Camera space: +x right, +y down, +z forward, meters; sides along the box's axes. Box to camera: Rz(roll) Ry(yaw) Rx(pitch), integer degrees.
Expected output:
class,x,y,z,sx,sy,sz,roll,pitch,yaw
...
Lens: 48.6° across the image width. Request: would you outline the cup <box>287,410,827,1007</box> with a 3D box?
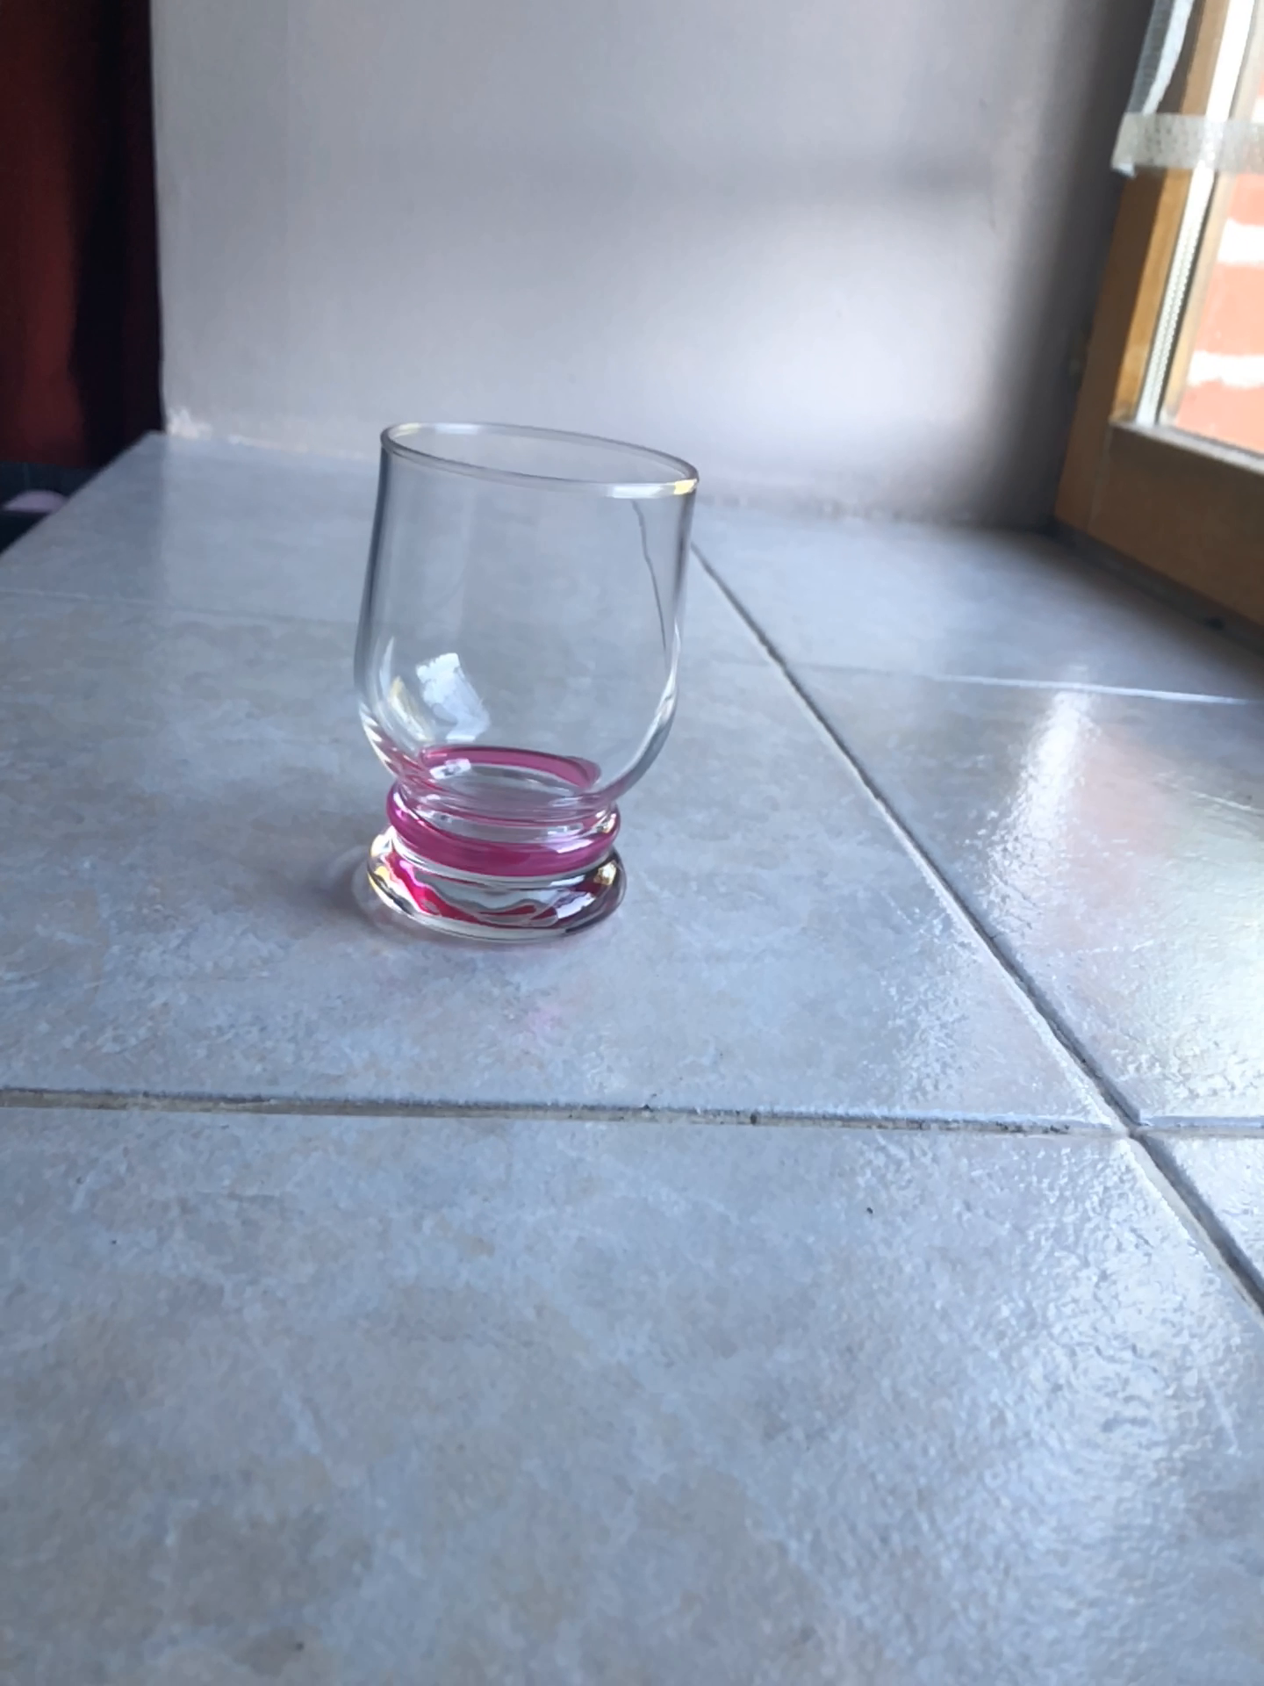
class,x,y,z,sx,sy,sz,roll,pitch,yaw
cup,-0.020,-0.036,0.311,0.079,0.102,0.079,6,24,-3
